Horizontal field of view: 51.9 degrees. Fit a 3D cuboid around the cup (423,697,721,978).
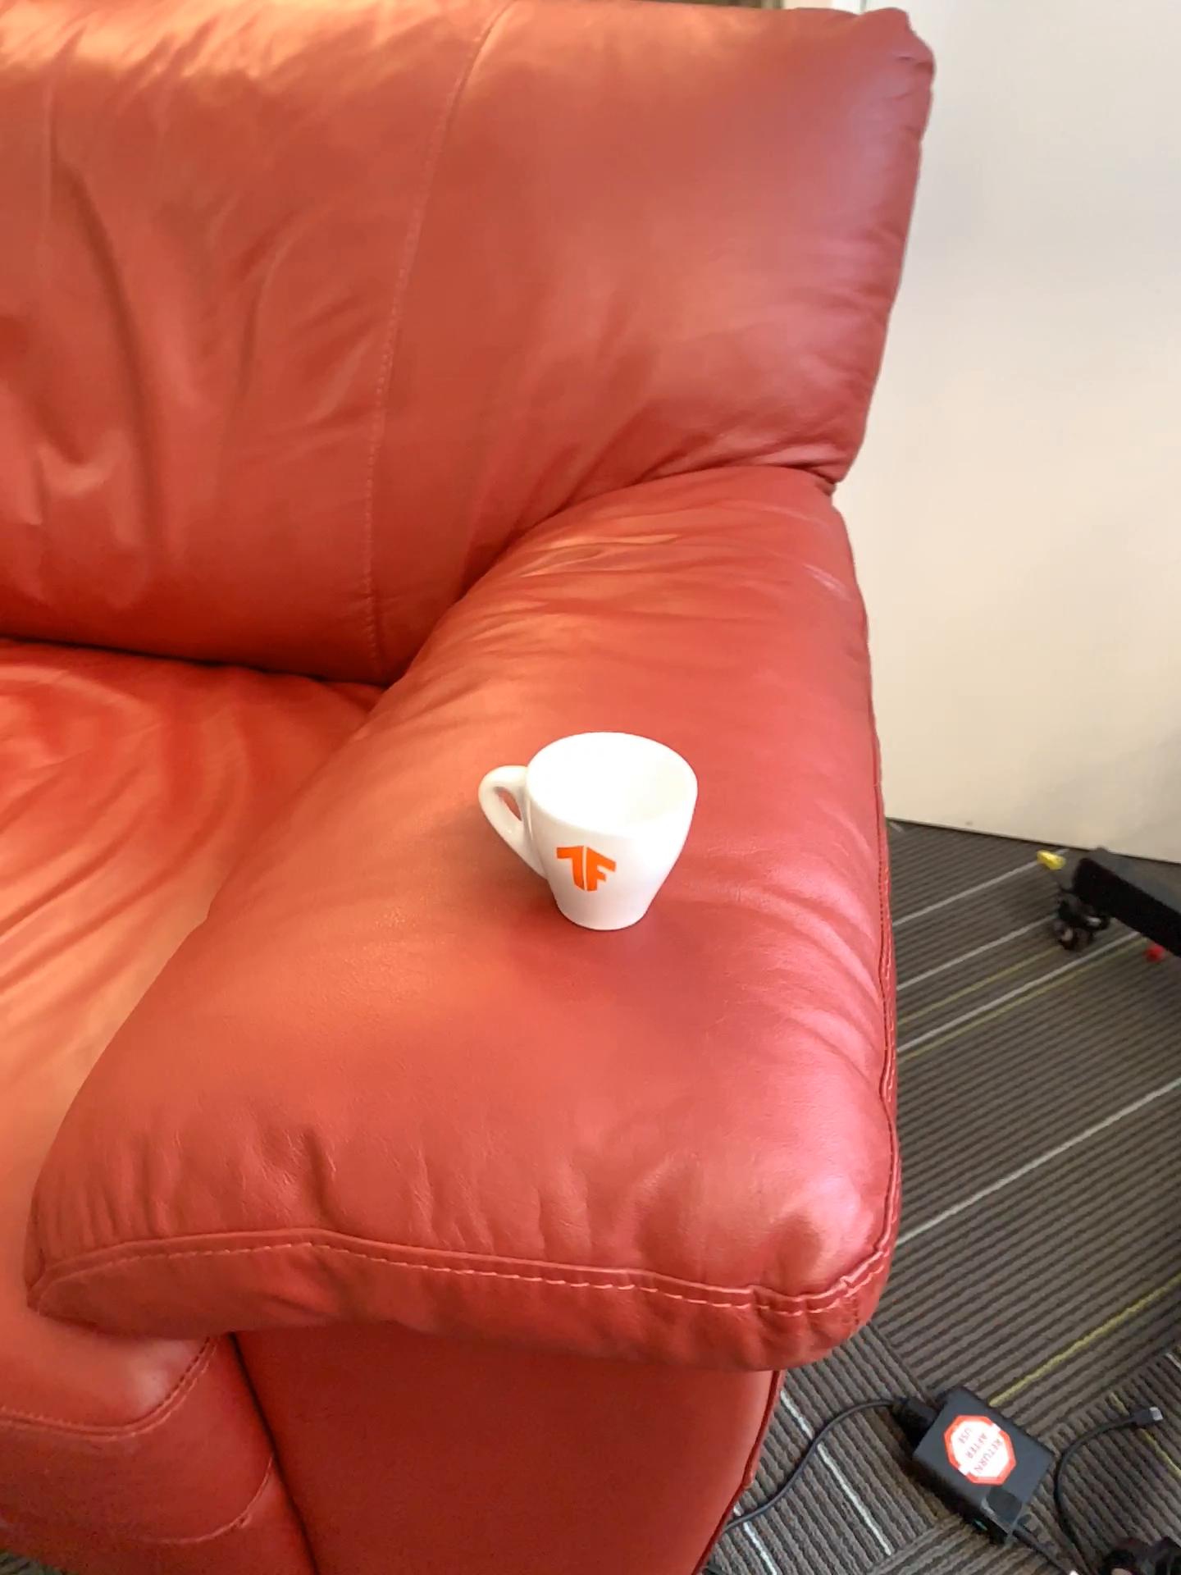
[{"bbox_3d":[-0.006,0.016,0.455,0.090,0.060,0.060,16,39,20],"label":"cup"}]
